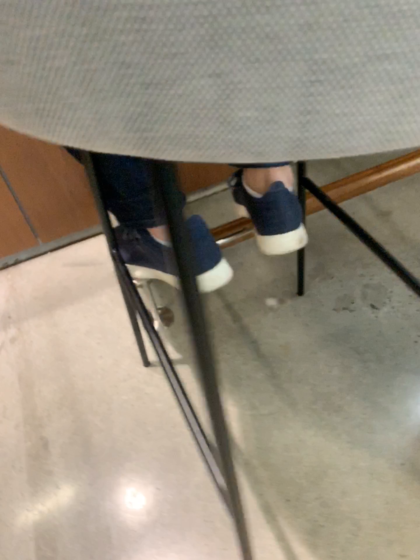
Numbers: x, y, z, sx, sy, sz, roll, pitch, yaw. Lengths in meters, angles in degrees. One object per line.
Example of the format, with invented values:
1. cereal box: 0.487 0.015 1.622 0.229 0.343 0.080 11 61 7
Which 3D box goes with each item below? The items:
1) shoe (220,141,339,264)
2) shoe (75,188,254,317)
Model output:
1. shoe: 0.109 -0.154 0.781 0.129 0.093 0.302 -8 34 -4
2. shoe: -0.086 -0.062 0.721 0.124 0.093 0.300 -36 39 -28
